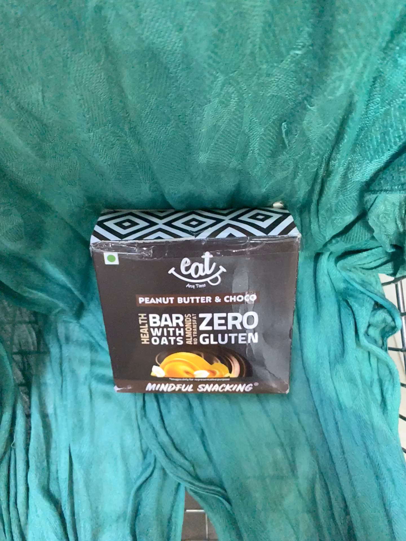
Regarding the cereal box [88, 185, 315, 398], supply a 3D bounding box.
[{"bbox_3d":[0.001,0.014,0.329,0.140,0.090,0.140,-1,115,2],"label":"cereal box"}]
